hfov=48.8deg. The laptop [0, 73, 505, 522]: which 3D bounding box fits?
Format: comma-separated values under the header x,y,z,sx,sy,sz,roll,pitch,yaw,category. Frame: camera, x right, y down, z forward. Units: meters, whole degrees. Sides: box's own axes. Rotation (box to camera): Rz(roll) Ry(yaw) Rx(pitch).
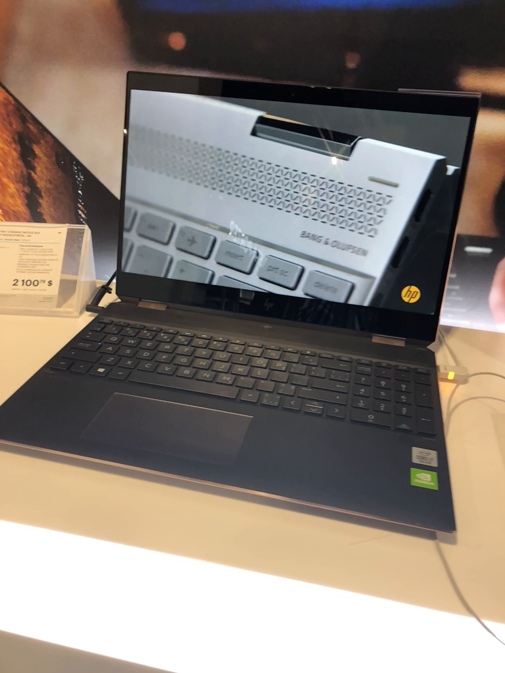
x,y,z,sx,sy,sz,roll,pitch,yaw,category
-0.007,-0.077,0.473,0.332,0.226,0.323,9,28,7,laptop
